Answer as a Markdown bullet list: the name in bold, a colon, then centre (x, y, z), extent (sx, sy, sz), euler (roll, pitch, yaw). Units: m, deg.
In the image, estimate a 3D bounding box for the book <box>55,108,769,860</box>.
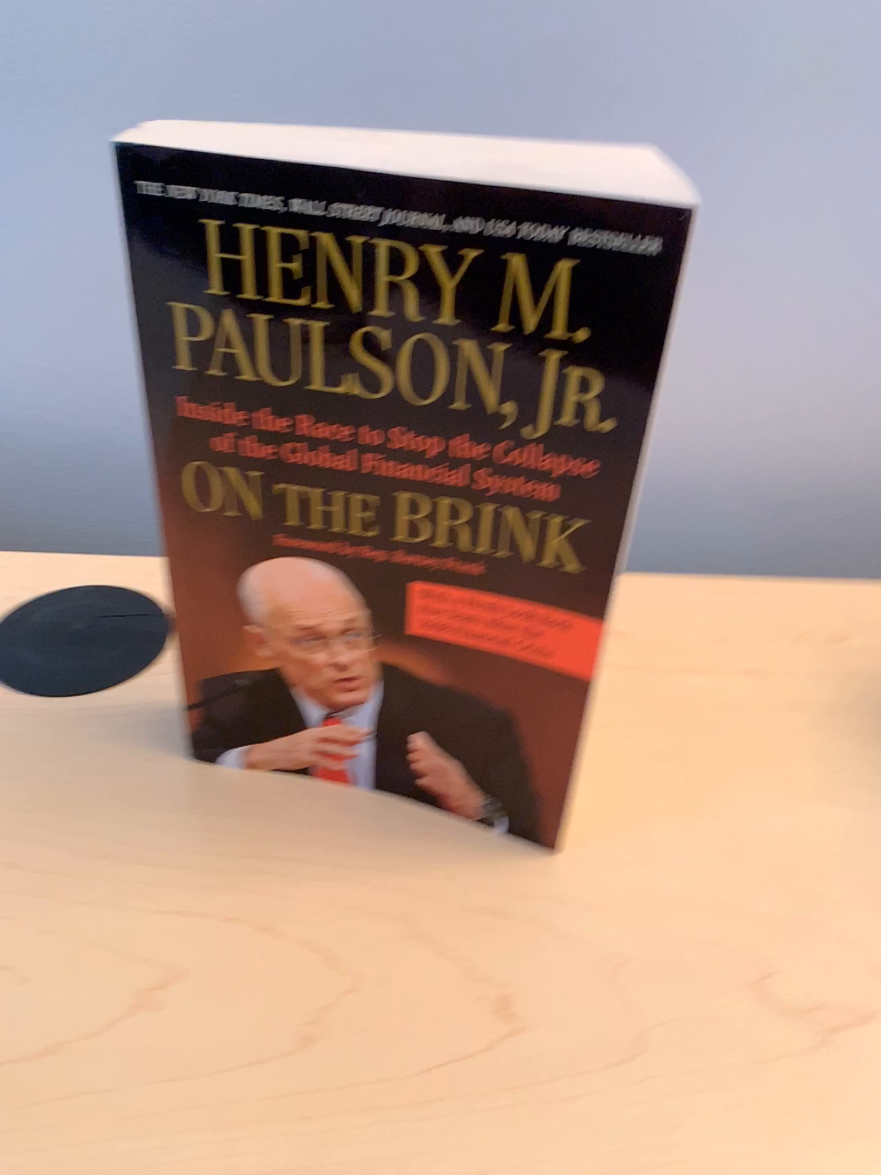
- **book**: centre (-0.011, -0.024, 0.308), extent (0.167, 0.228, 0.082), euler (5, 33, 1)
